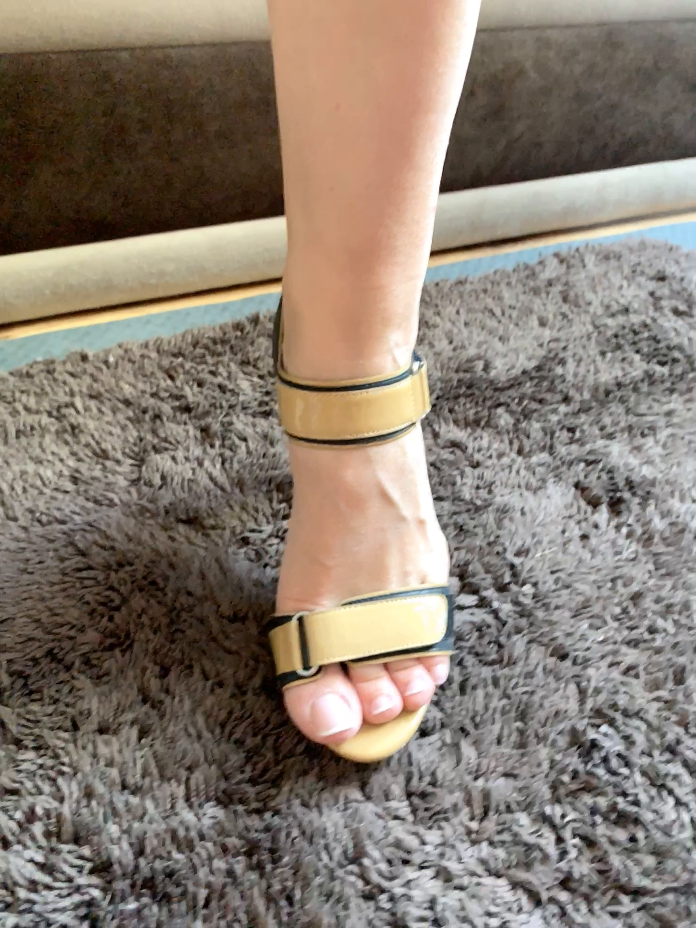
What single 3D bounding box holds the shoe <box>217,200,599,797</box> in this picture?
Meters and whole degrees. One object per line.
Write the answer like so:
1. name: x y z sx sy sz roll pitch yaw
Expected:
1. shoe: 0.001 0.001 0.308 0.090 0.149 0.201 -5 42 -10
